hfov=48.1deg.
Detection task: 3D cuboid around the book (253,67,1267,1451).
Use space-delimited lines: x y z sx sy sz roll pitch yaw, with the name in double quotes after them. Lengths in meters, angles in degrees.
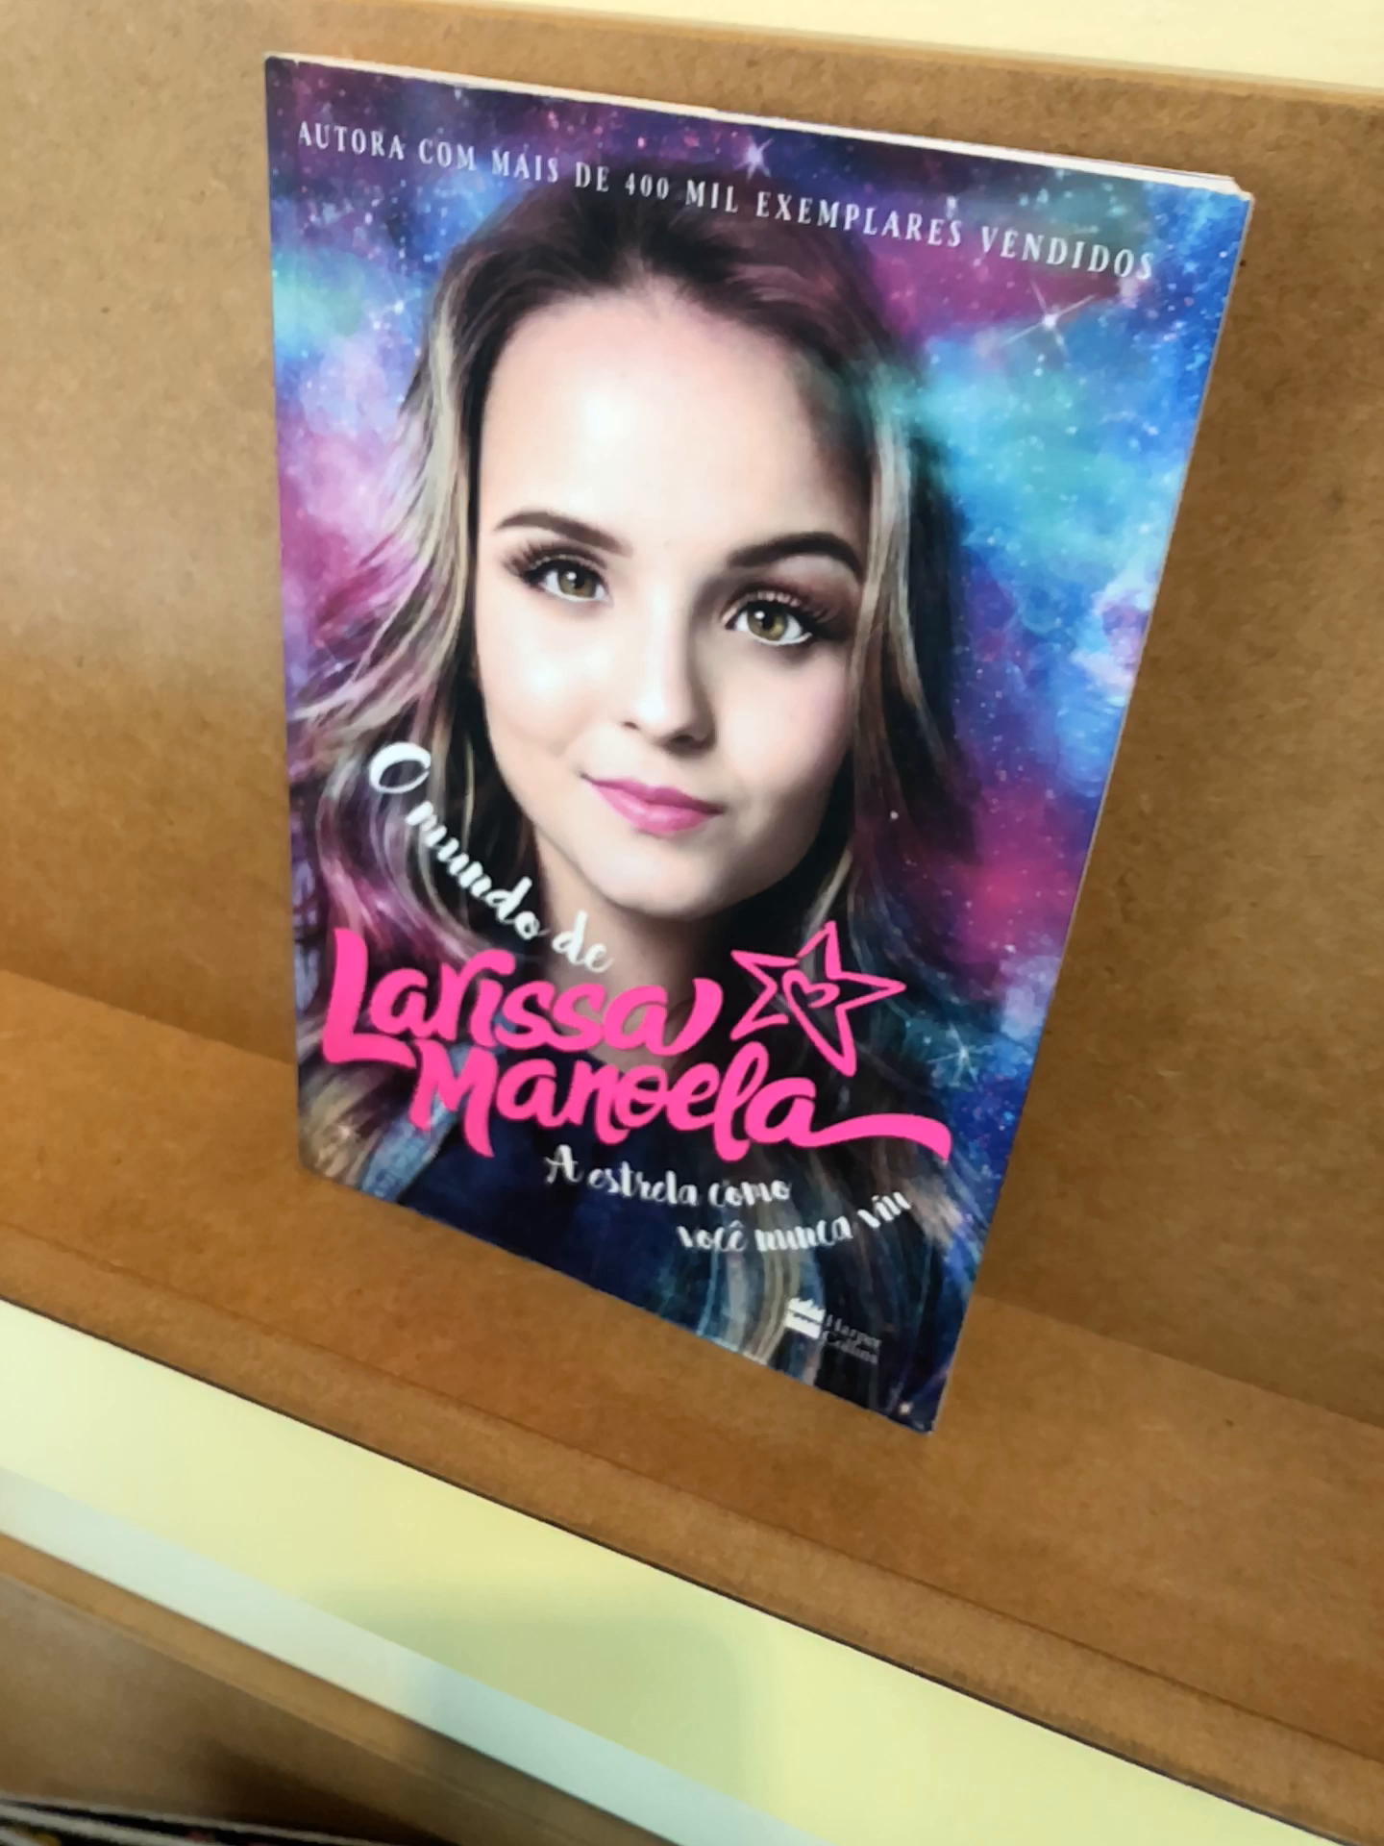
-0.005 -0.019 0.277 0.150 0.221 0.020 18 32 20 "book"
